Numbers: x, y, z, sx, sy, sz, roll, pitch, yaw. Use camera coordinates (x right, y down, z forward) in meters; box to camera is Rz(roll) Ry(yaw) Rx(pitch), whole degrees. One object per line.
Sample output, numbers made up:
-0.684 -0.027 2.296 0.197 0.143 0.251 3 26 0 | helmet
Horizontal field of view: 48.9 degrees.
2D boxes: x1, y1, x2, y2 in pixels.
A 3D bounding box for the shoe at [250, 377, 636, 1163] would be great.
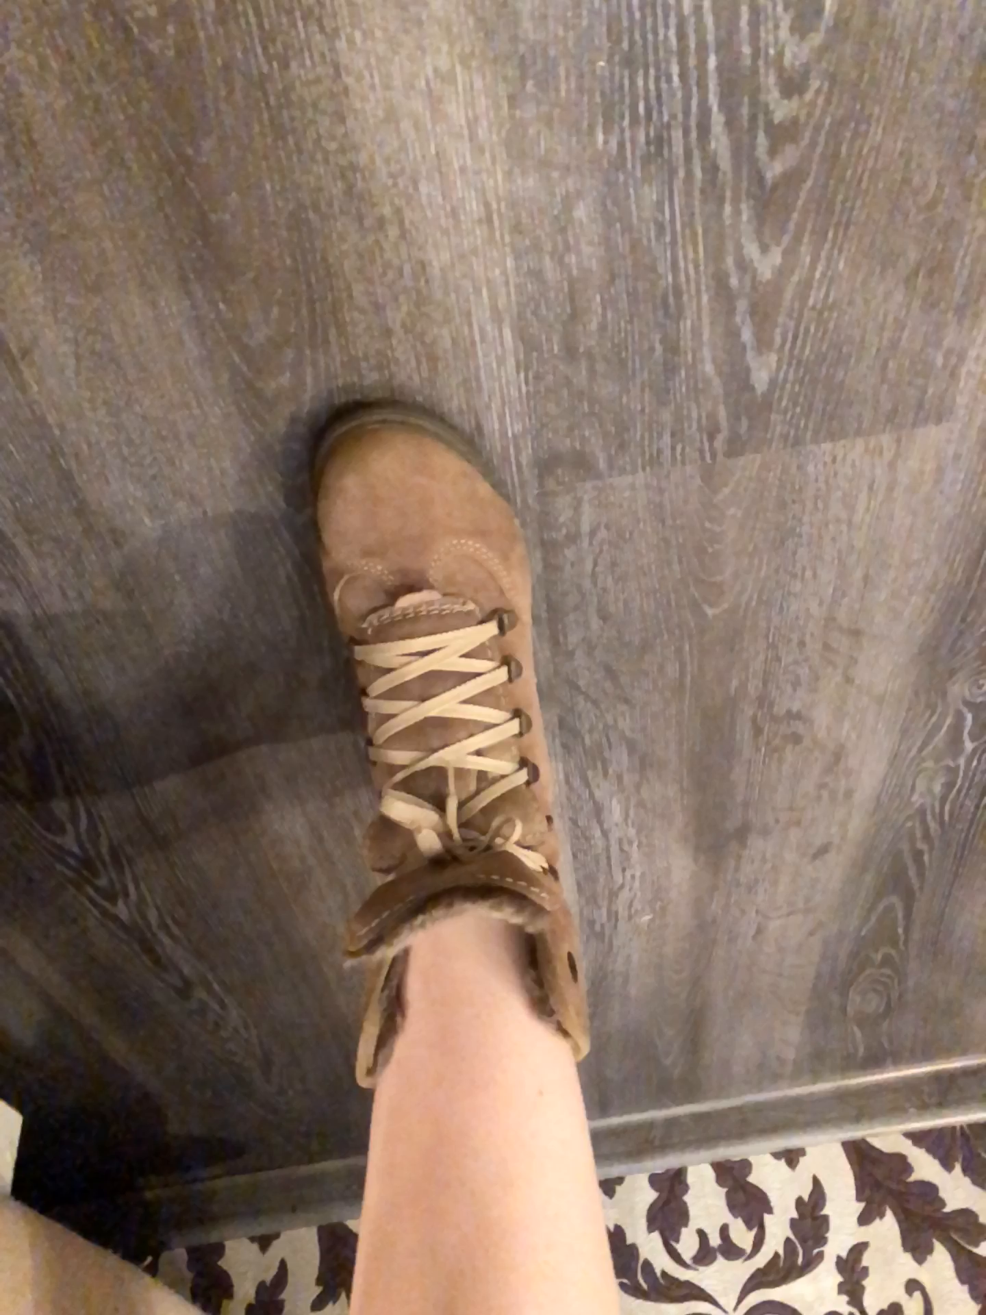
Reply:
-0.016 0.065 0.485 0.110 0.209 0.291 -7 139 -1 | shoe
